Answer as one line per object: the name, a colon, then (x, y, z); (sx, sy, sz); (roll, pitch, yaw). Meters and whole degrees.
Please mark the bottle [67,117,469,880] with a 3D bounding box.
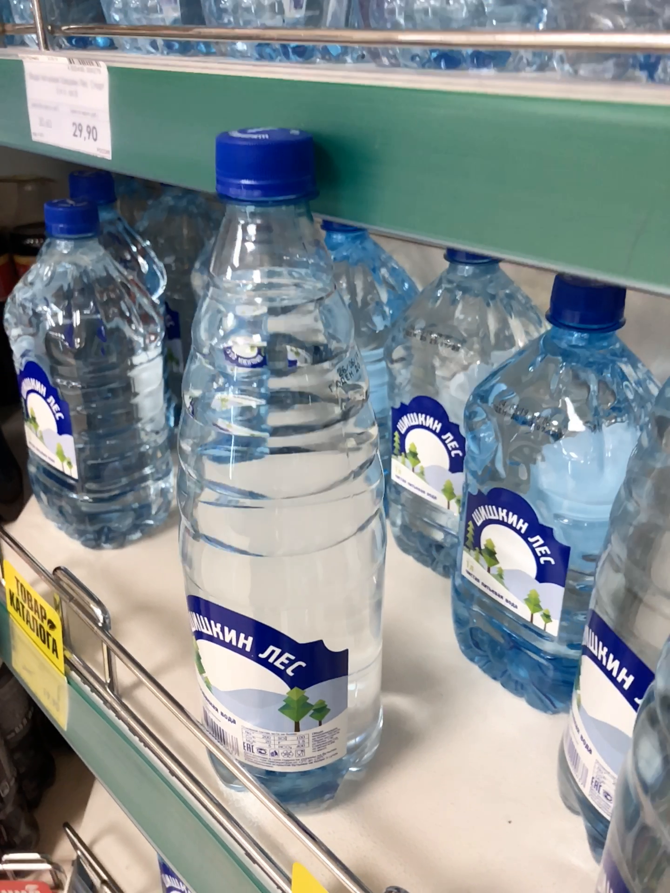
bottle: (-0.017, 0.026, 0.288); (0.090, 0.272, 0.080); (20, 35, 34)
